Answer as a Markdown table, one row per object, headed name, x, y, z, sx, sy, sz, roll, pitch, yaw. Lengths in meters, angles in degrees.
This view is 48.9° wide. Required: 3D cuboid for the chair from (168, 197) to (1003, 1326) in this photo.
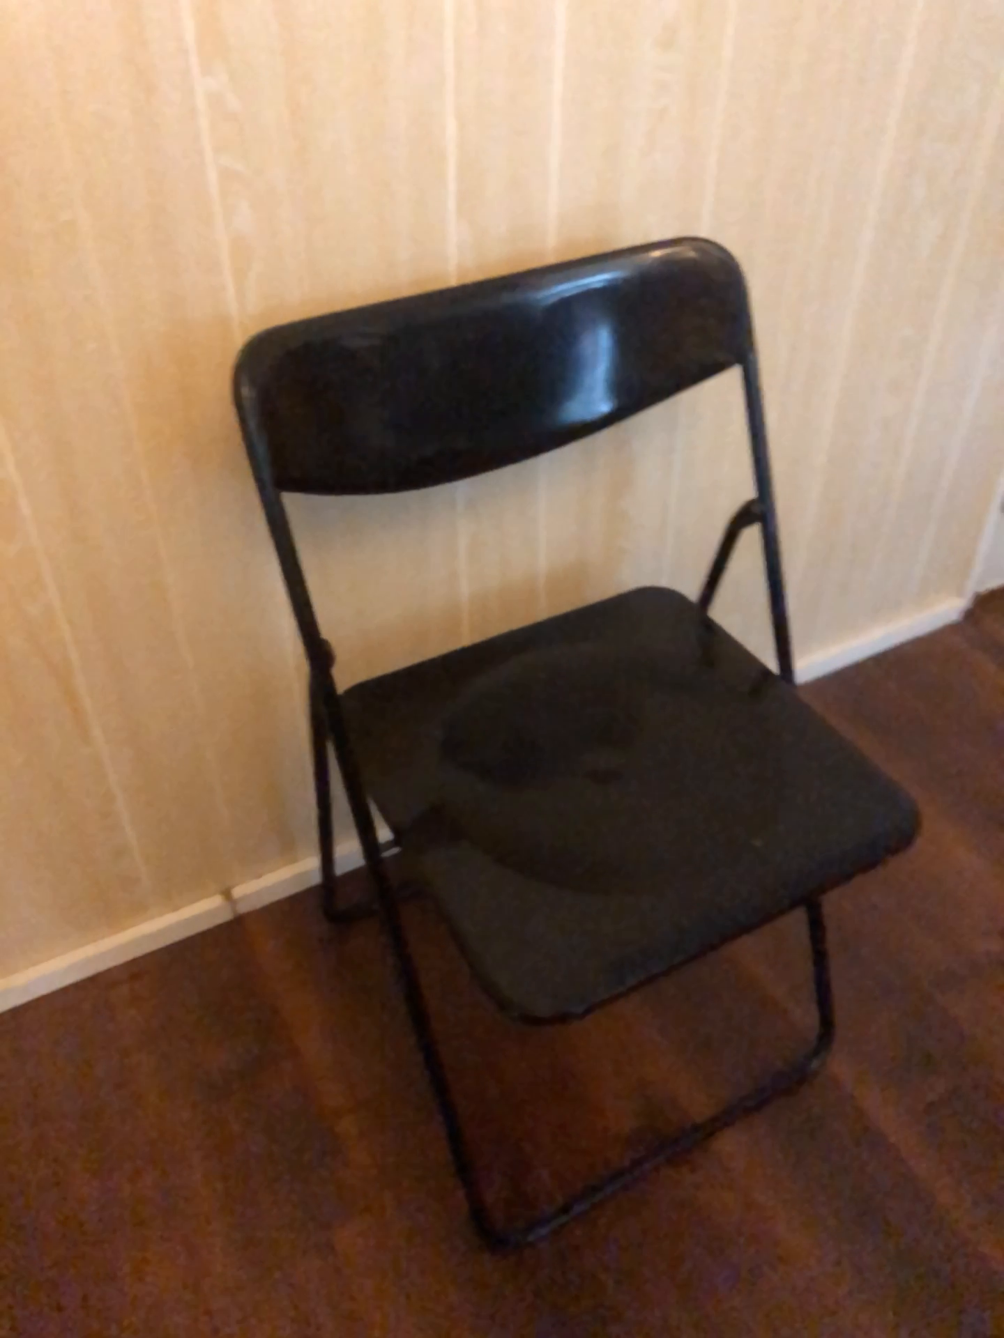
| name | x | y | z | sx | sy | sz | roll | pitch | yaw |
| --- | --- | --- | --- | --- | --- | --- | --- | --- | --- |
| chair | 0.096 | 0.065 | 0.912 | 0.491 | 0.665 | 0.473 | -20 | 46 | -22 |
